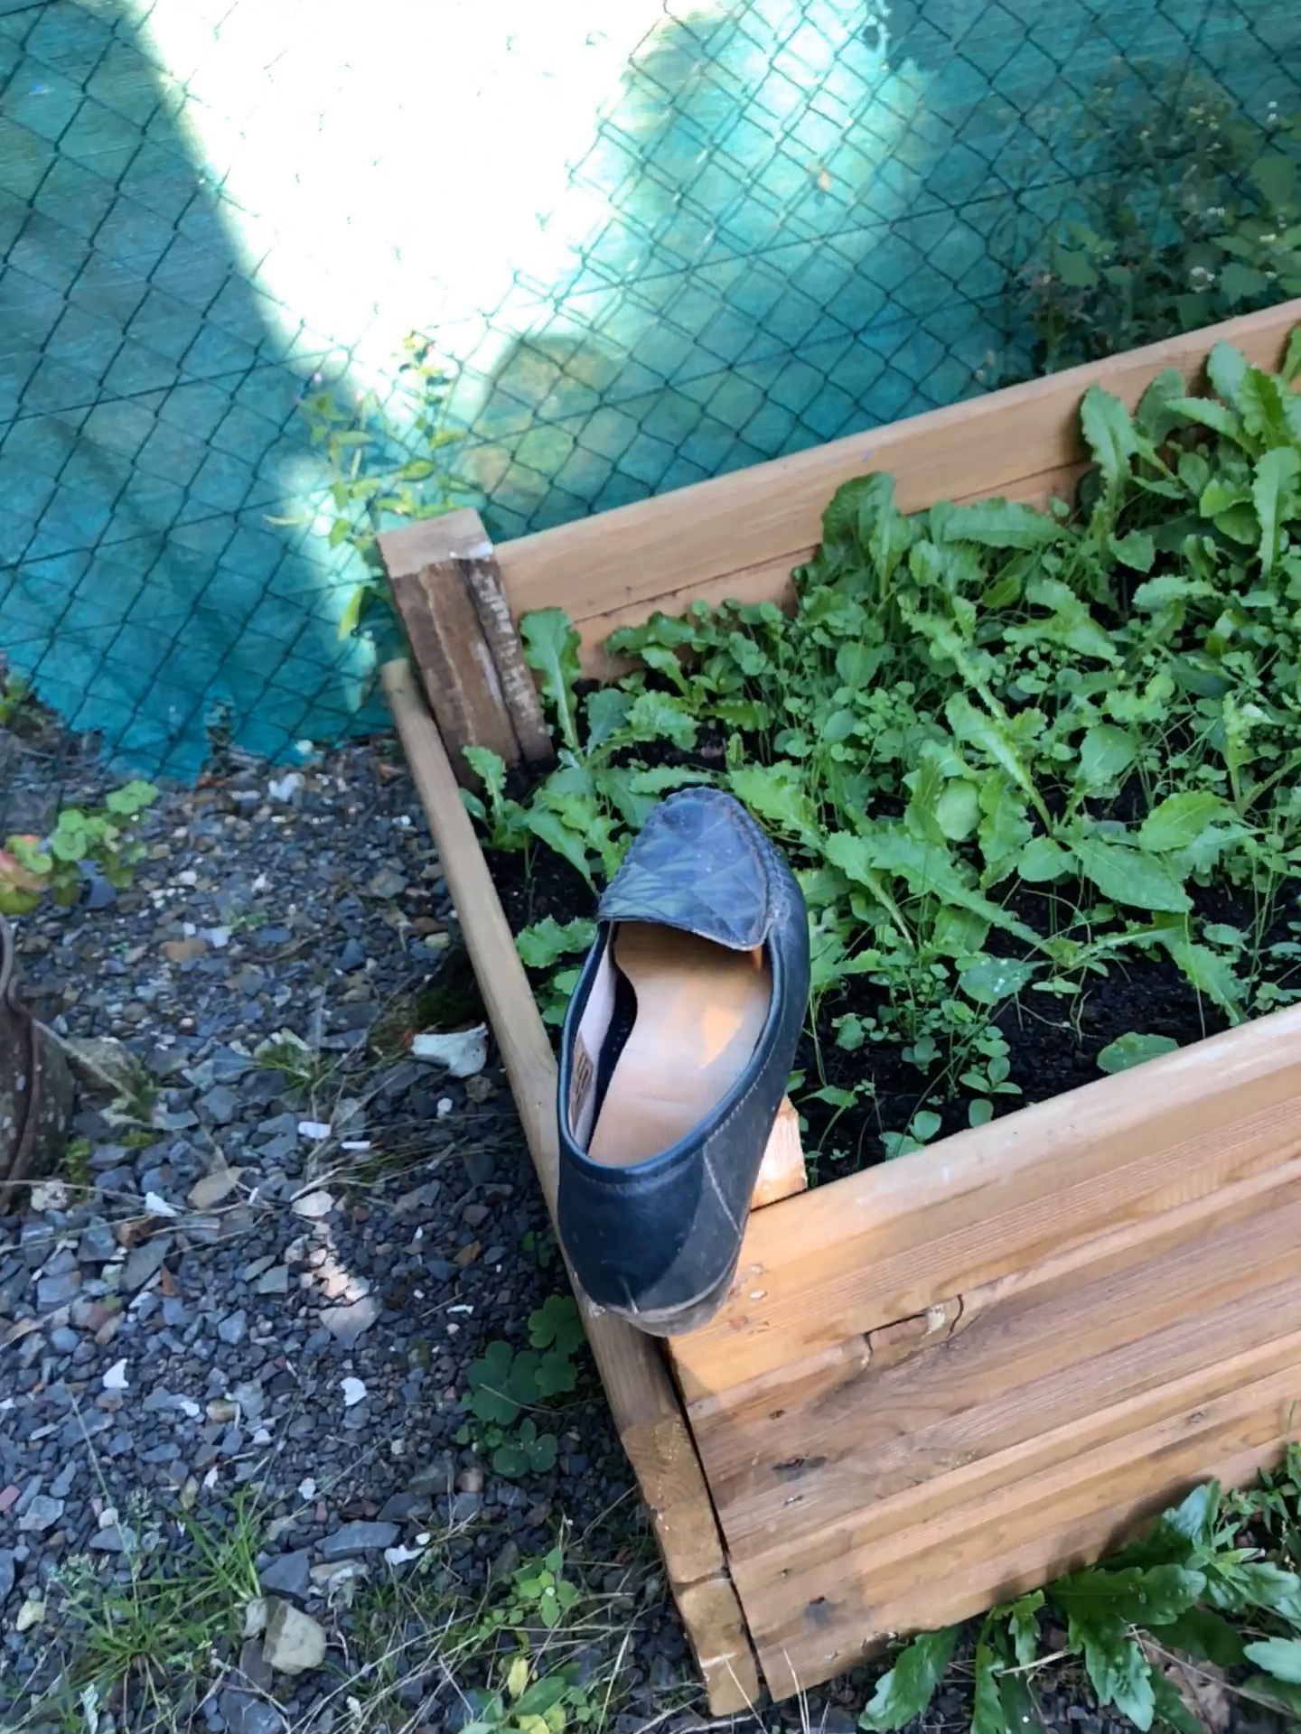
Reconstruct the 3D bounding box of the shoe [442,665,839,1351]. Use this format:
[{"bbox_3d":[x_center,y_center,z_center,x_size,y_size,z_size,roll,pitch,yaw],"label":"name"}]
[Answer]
[{"bbox_3d":[0.011,0.040,0.551,0.100,0.089,0.262,-1,44,13],"label":"shoe"}]
